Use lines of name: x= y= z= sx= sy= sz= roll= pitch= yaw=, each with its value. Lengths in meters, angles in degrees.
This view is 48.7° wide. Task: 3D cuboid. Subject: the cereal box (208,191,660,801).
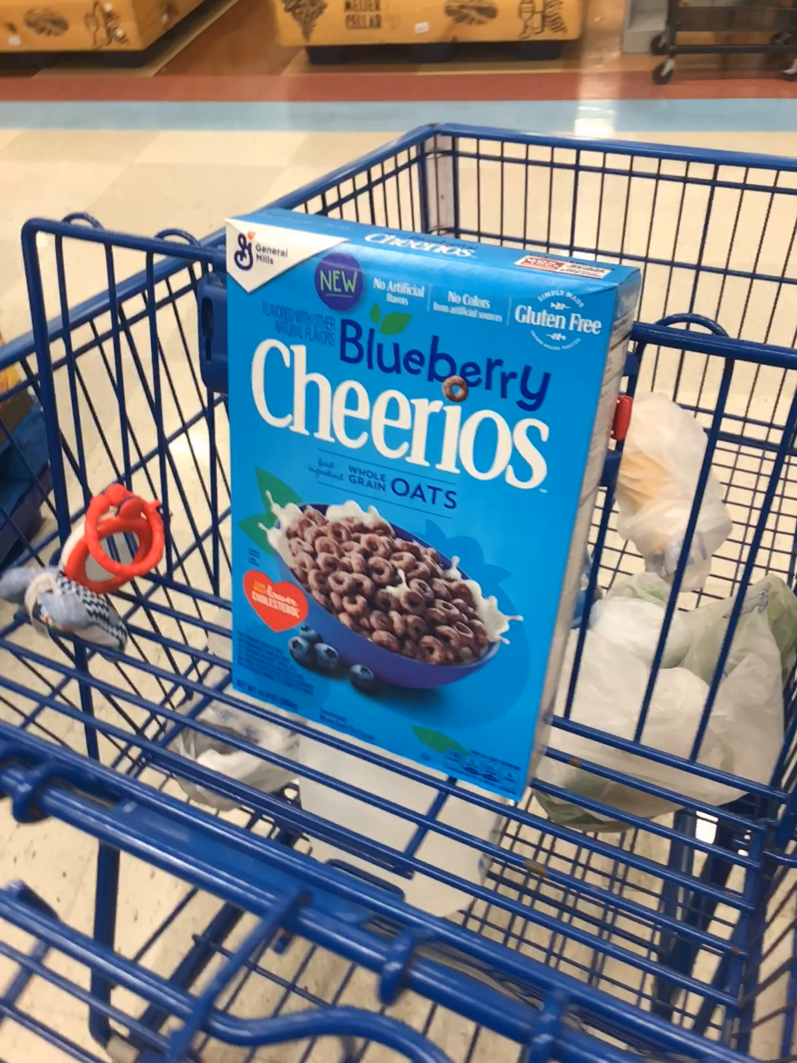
cereal box: x=0.004 y=-0.020 z=0.472 sx=0.200 sy=0.280 sz=0.070 roll=16 pitch=29 yaw=21
